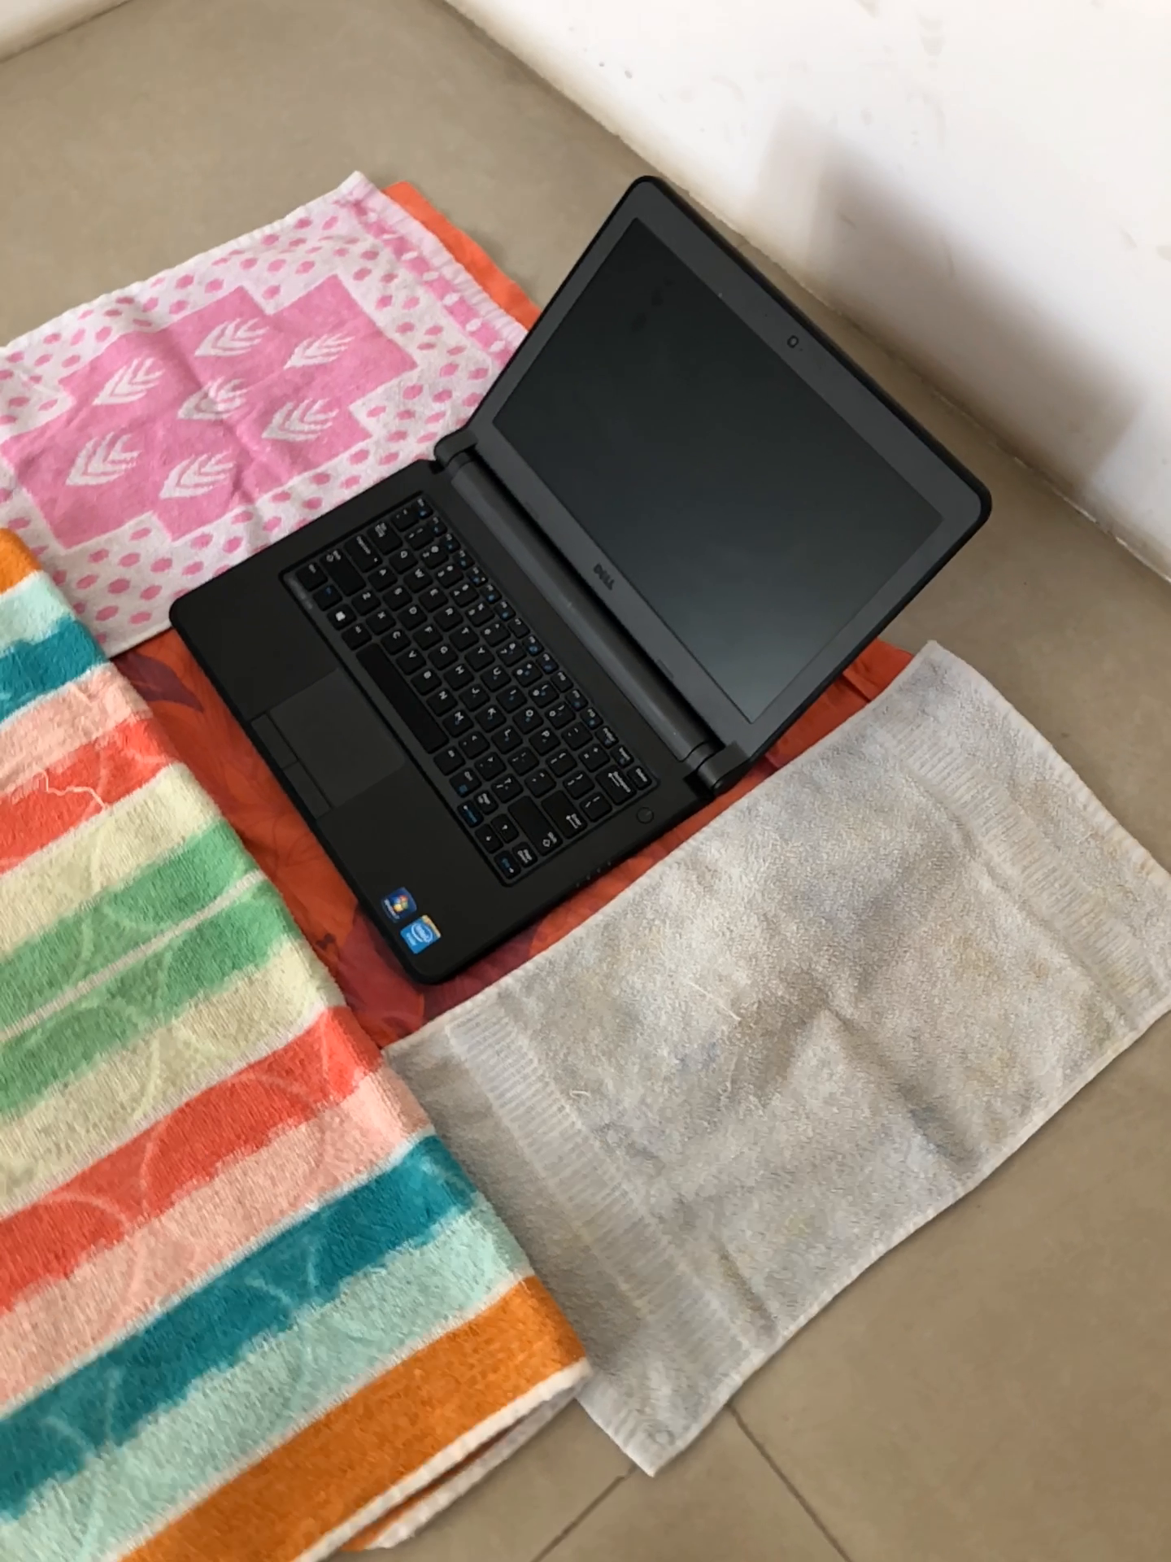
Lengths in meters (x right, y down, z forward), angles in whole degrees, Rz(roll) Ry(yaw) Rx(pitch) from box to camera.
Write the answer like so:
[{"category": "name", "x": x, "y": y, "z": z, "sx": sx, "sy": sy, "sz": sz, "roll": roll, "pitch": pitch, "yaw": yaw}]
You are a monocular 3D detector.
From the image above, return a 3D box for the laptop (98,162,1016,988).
[{"category": "laptop", "x": -0.022, "y": -0.132, "z": 0.770, "sx": 0.392, "sy": 0.143, "sz": 0.314, "roll": -33, "pitch": 68, "yaw": -11}]
